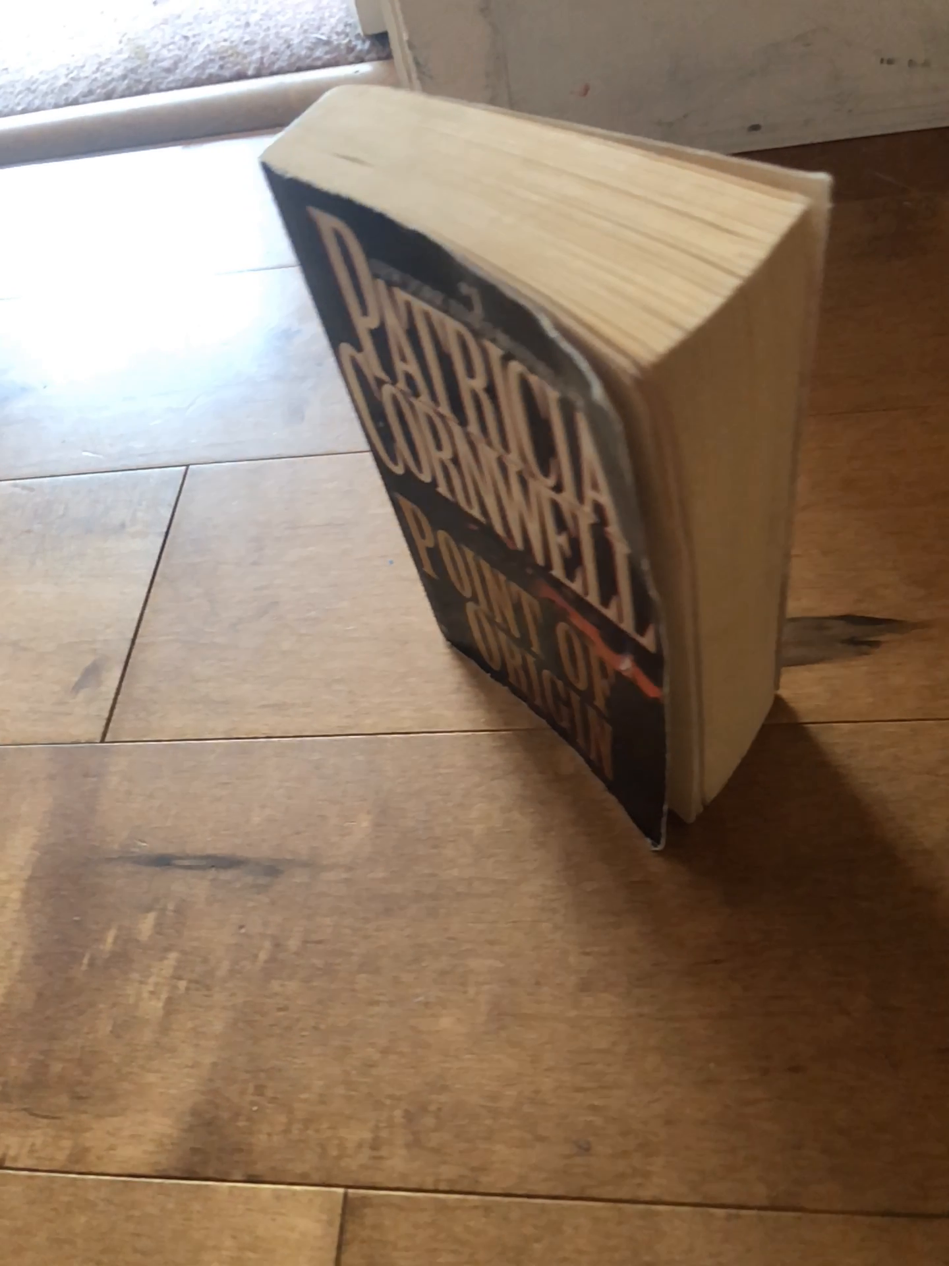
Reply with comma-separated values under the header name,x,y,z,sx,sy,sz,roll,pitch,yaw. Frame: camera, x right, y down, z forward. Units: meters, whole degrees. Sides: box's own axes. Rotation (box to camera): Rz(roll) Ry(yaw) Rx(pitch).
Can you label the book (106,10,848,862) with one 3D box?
name,x,y,z,sx,sy,sz,roll,pitch,yaw
book,0.008,-0.036,0.240,0.050,0.159,0.131,-44,57,-16
